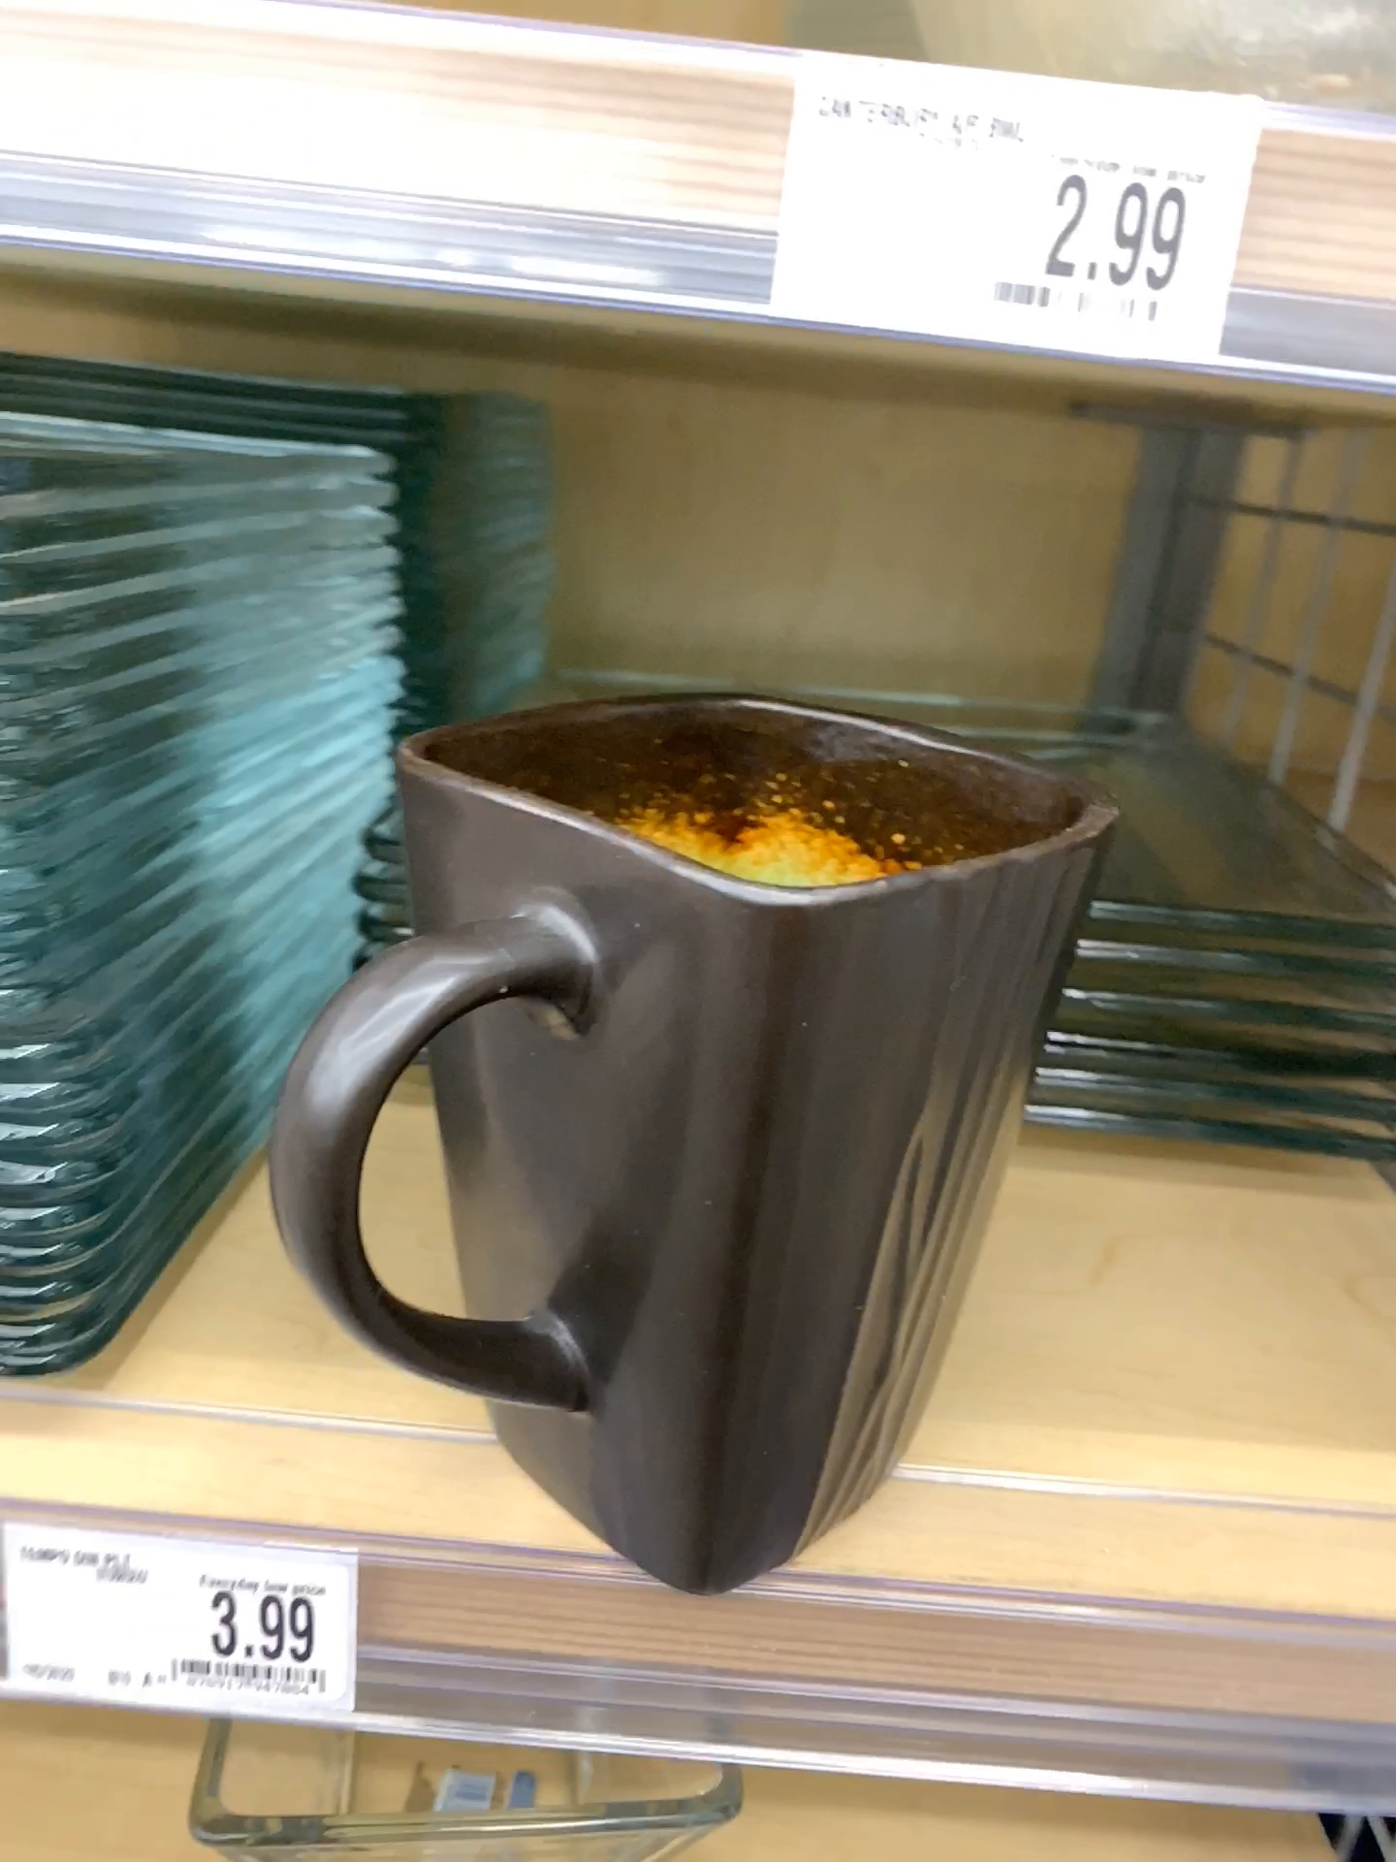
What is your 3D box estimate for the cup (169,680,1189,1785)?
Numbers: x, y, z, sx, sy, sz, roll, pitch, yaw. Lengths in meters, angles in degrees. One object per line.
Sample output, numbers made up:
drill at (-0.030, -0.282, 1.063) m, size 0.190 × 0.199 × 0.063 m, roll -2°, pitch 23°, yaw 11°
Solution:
cup at (-0.003, 0.024, 0.210) m, size 0.088 × 0.099 × 0.107 m, roll 21°, pitch 22°, yaw 35°
